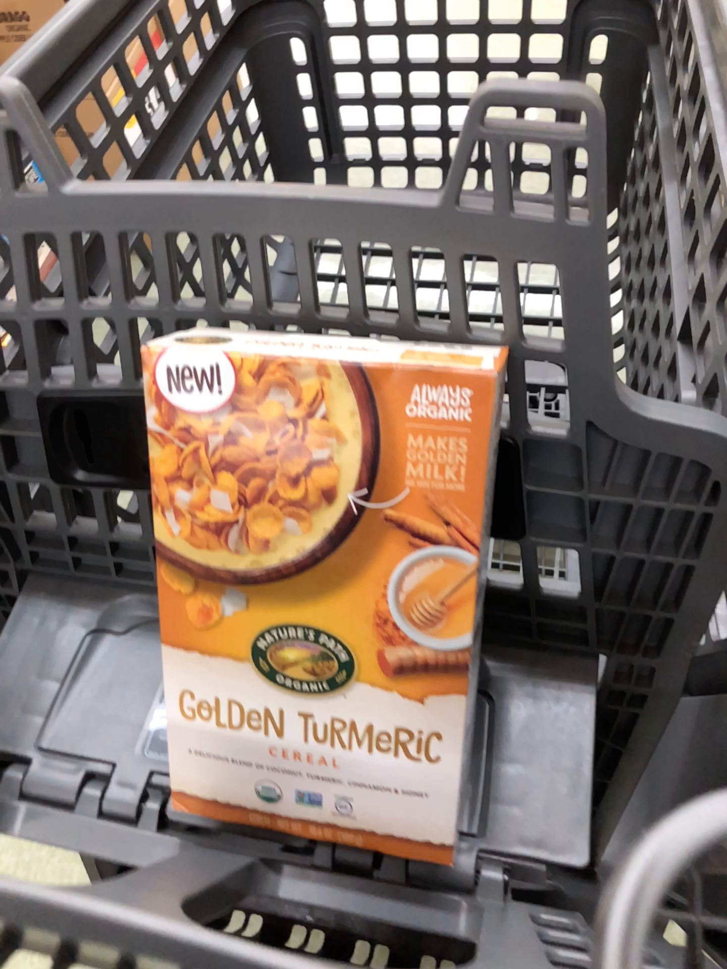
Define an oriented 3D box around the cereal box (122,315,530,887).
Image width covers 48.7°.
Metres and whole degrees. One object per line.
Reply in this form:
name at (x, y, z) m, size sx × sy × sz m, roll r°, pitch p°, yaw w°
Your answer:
cereal box at (-0.019, 0.057, 0.419) m, size 0.180 × 0.270 × 0.070 m, roll 6°, pitch 18°, yaw 12°
